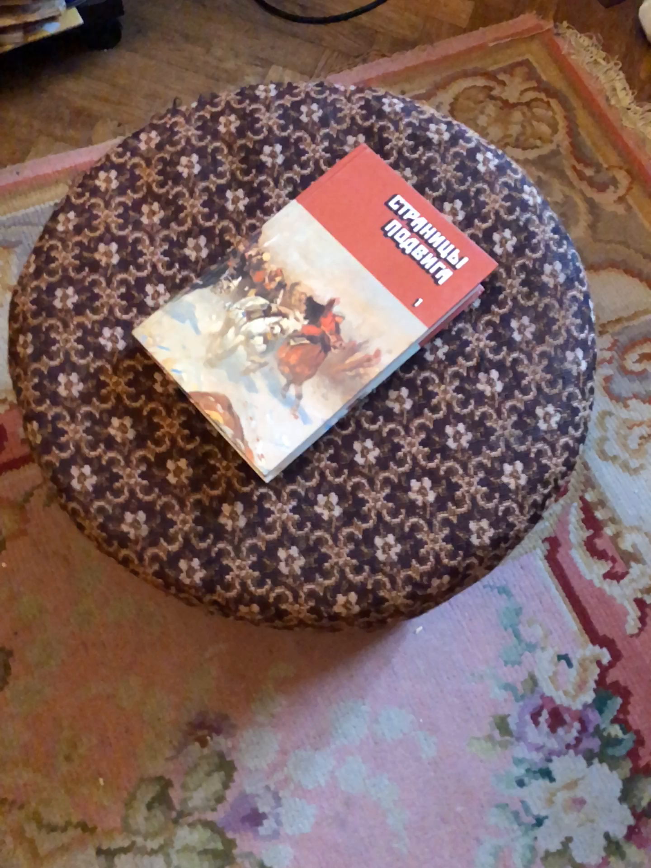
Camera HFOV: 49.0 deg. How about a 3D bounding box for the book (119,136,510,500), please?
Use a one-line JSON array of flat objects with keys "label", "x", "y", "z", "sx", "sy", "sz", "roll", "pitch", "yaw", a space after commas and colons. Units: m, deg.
[{"label": "book", "x": -0.005, "y": -0.079, "z": 0.462, "sx": 0.206, "sy": 0.040, "sz": 0.134, "roll": -42, "pitch": 78, "yaw": -11}]
